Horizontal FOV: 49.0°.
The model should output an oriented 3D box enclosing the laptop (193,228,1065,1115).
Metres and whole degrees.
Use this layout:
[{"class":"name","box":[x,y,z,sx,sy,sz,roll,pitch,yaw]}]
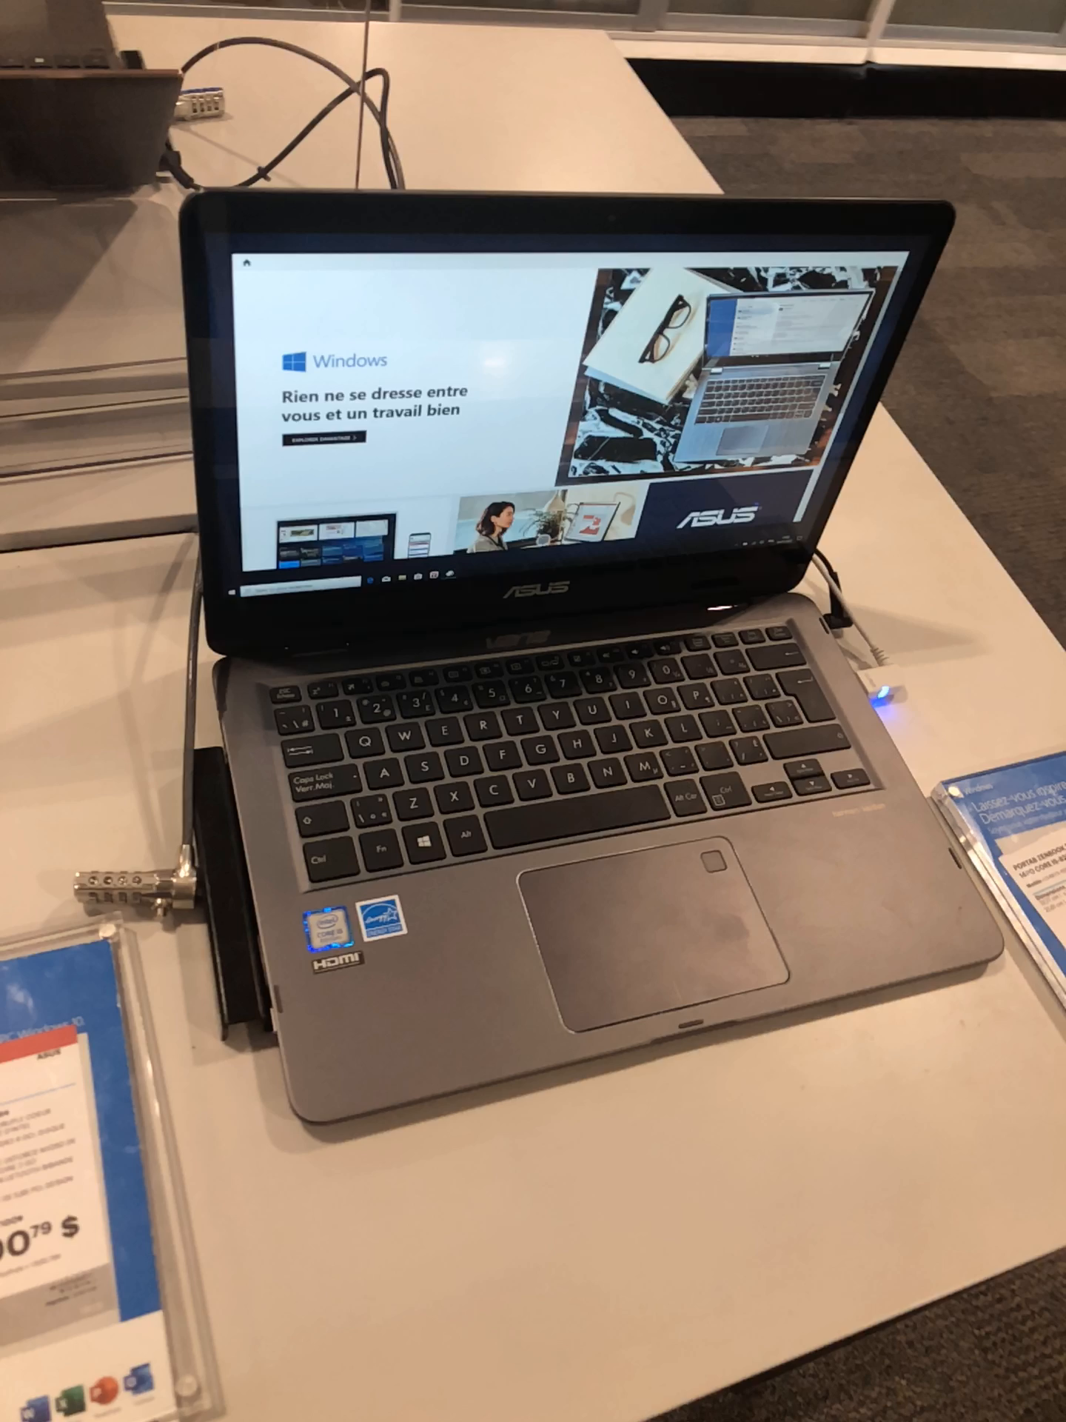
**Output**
[{"class":"laptop","box":[0.045,-0.025,0.447,0.302,0.217,0.224,-8,53,-18]}]
